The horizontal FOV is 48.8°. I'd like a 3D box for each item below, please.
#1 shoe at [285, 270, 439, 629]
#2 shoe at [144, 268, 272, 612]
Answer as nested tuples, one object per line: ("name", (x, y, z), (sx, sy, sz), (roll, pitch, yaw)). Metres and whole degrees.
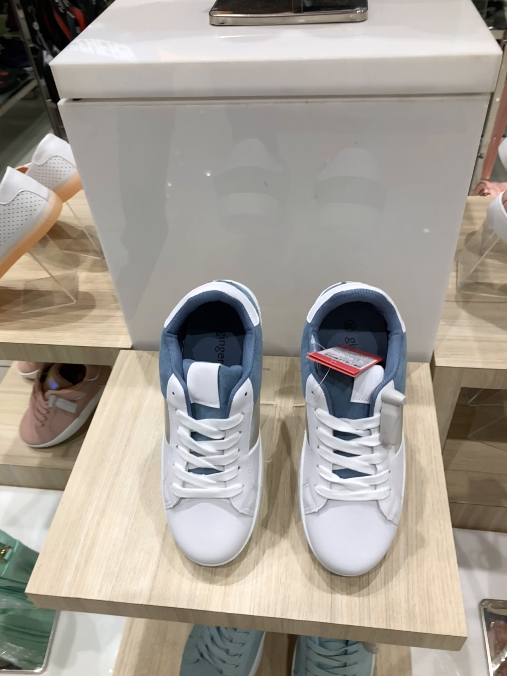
("shoe", (0.086, 0.080, 0.468), (0.102, 0.263, 0.104), (2, 3, 7))
("shoe", (-0.034, 0.076, 0.479), (0.092, 0.261, 0.104), (0, 1, 5))
